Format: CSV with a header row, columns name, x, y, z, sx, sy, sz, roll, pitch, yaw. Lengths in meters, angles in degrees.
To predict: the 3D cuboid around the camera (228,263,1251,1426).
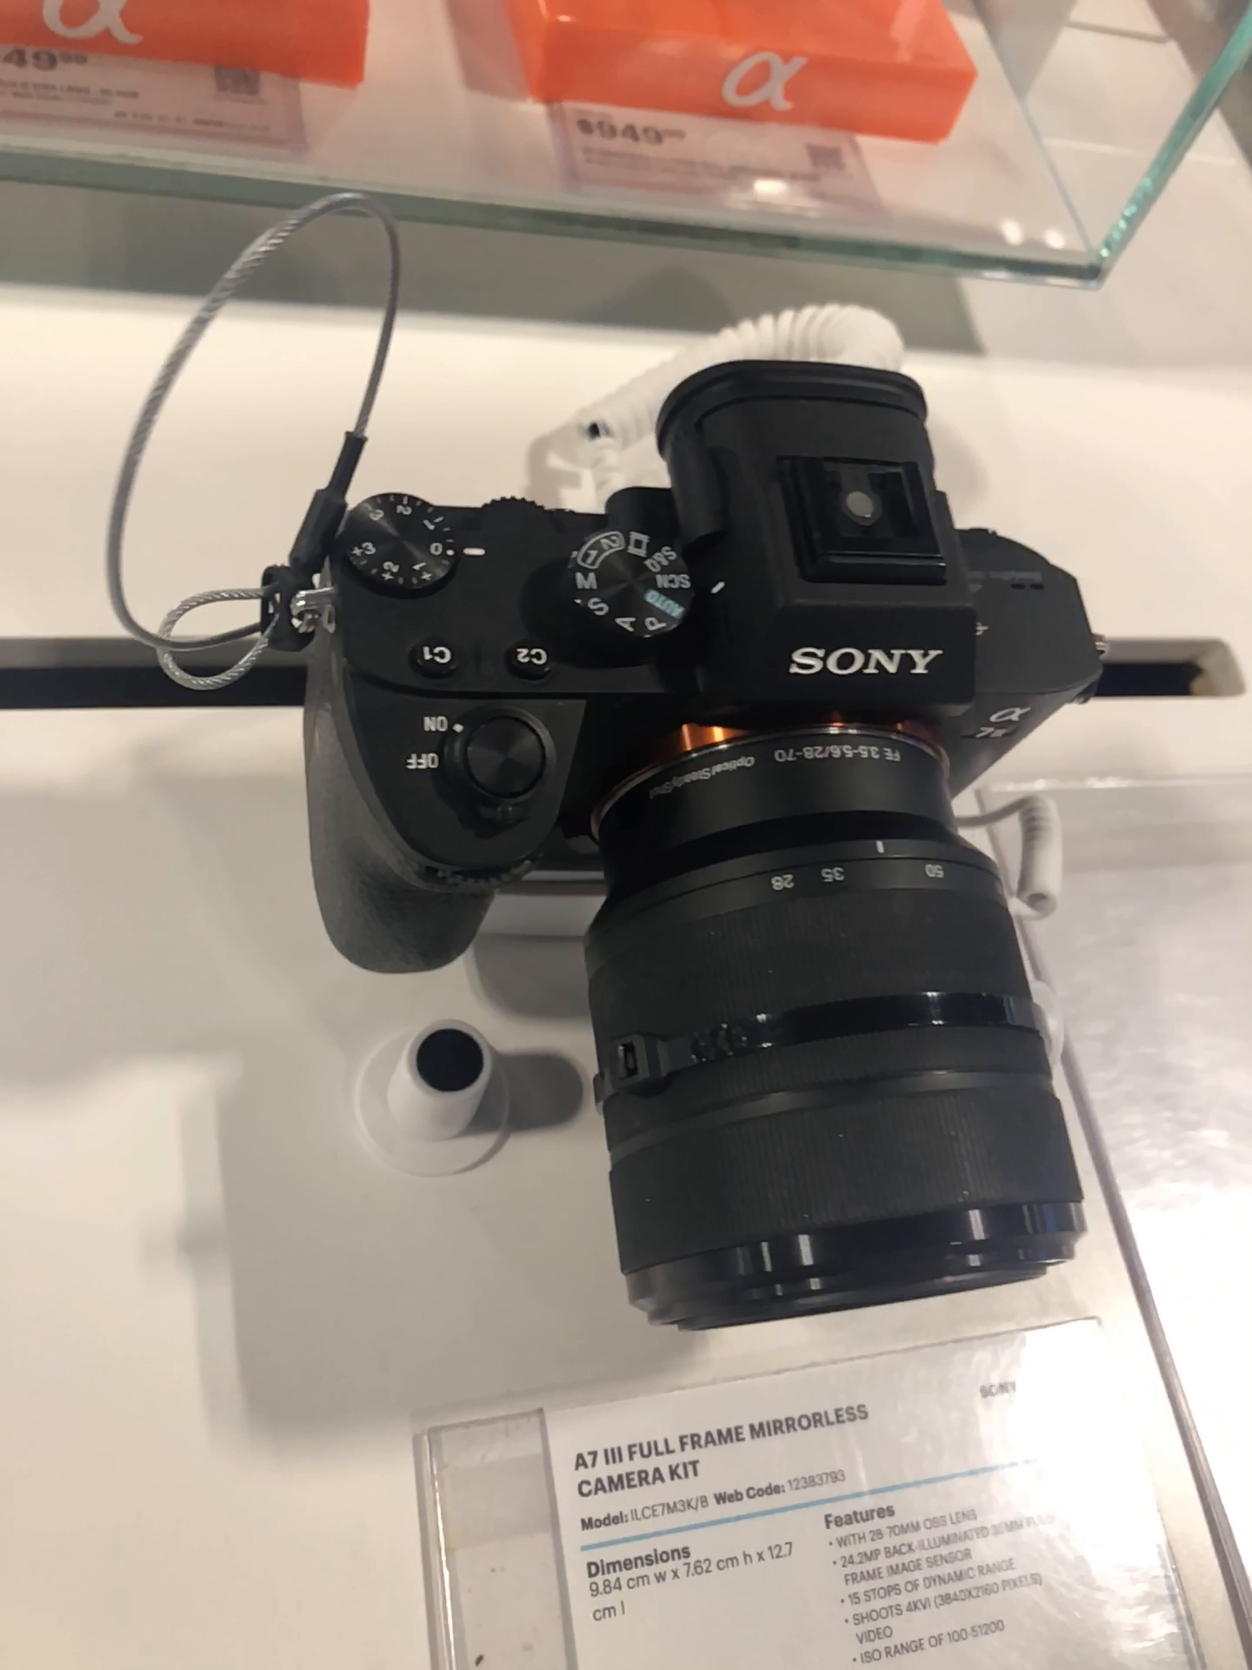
name,x,y,z,sx,sy,sz,roll,pitch,yaw
camera,0.006,0.004,0.211,0.120,0.100,0.130,-3,64,-18
